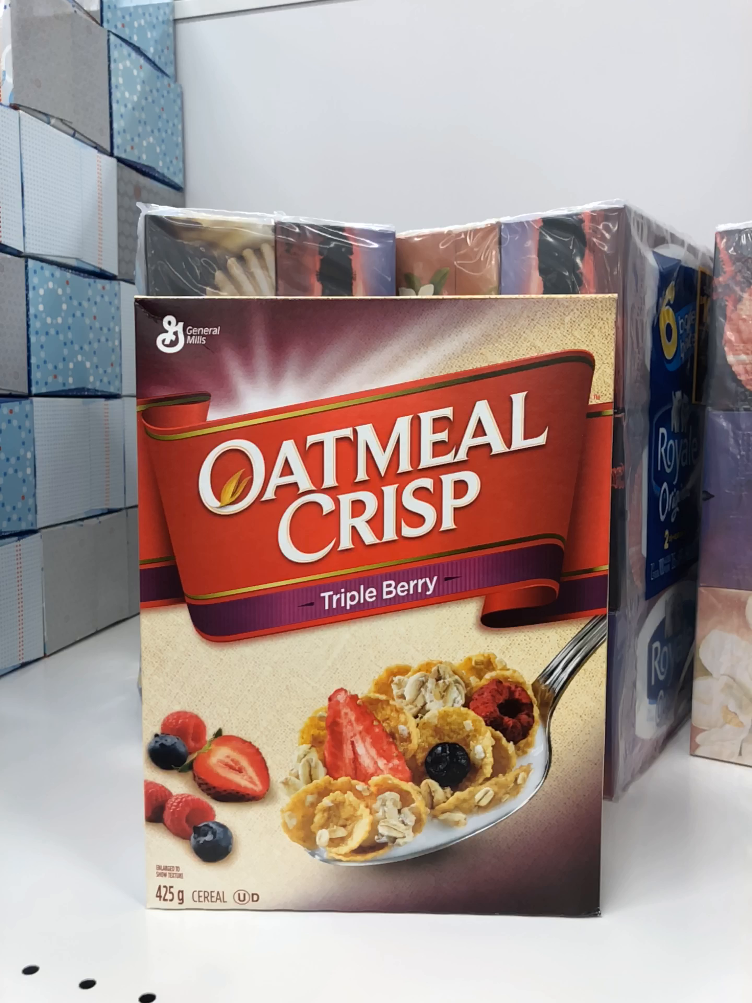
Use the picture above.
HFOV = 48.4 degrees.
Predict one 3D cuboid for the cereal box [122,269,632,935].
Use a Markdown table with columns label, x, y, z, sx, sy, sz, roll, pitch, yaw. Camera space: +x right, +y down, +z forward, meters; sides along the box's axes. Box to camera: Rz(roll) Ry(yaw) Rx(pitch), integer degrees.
| label | x | y | z | sx | sy | sz | roll | pitch | yaw |
| --- | --- | --- | --- | --- | --- | --- | --- | --- | --- |
| cereal box | 0.000 | 0.041 | 0.369 | 0.200 | 0.270 | 0.060 | 0 | 5 | 2 |
